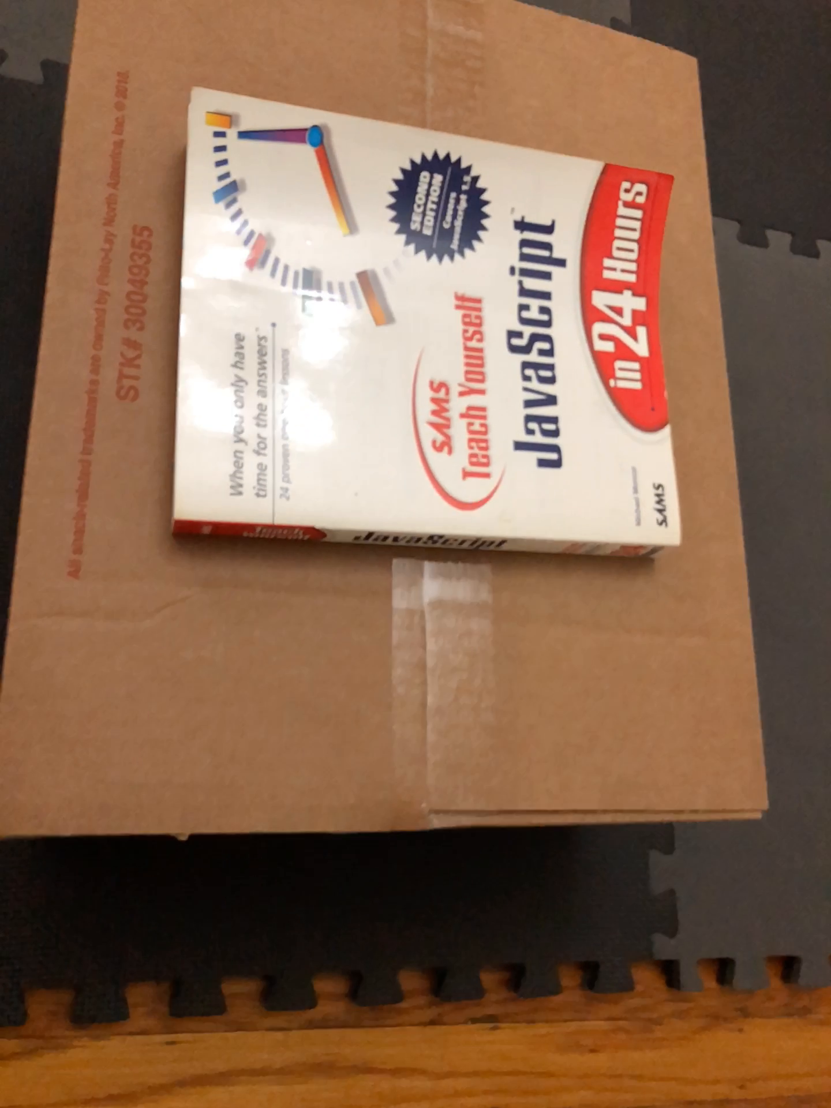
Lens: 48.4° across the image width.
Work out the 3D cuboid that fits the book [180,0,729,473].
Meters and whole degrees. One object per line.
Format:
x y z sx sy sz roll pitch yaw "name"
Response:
0.020 -0.145 0.424 0.240 0.030 0.200 2 75 -16 "book"
